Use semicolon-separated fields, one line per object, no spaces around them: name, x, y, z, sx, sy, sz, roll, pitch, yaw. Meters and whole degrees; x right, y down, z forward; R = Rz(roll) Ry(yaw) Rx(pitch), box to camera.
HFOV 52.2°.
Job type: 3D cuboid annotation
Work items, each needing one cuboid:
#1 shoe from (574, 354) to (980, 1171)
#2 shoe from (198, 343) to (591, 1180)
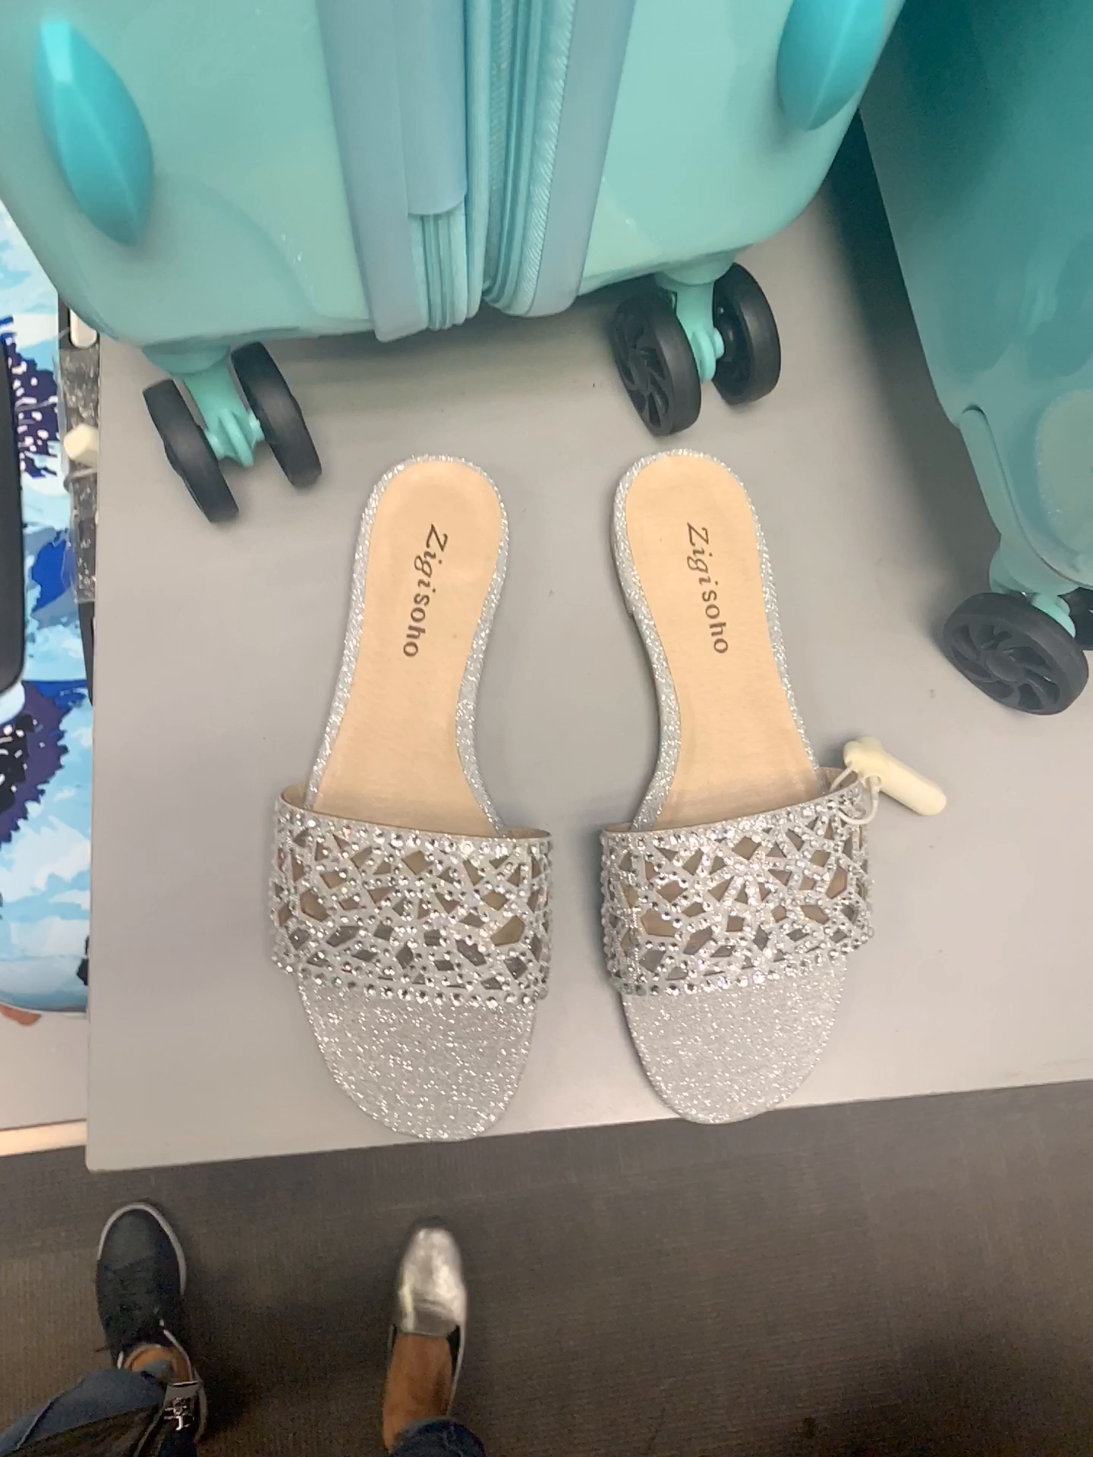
shoe;0.063;0.006;0.356;0.098;0.061;0.242;0;76;-3
shoe;-0.040;0.007;0.351;0.100;0.061;0.243;2;76;-3
